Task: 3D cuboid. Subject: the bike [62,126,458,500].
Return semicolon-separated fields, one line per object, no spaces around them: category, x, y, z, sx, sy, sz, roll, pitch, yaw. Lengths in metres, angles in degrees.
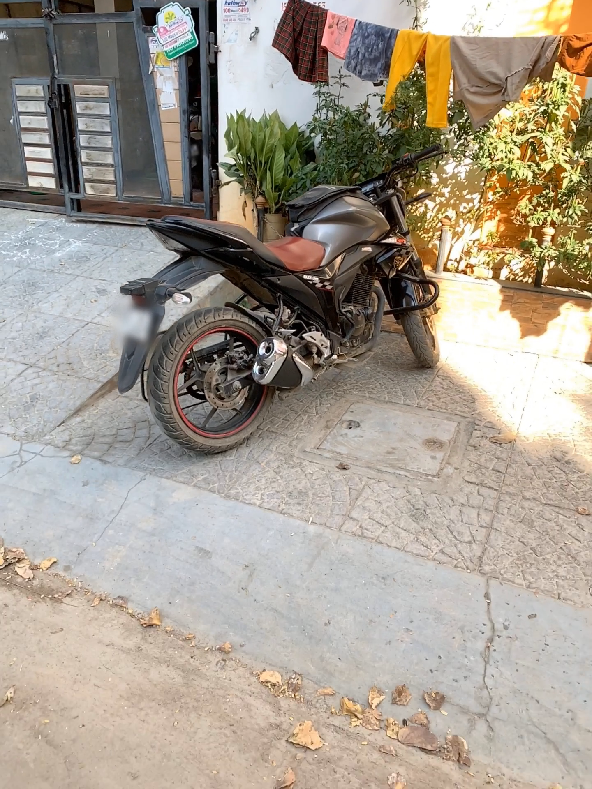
bike;-0.069;-0.554;2.713;0.810;1.140;1.628;21;32;36
